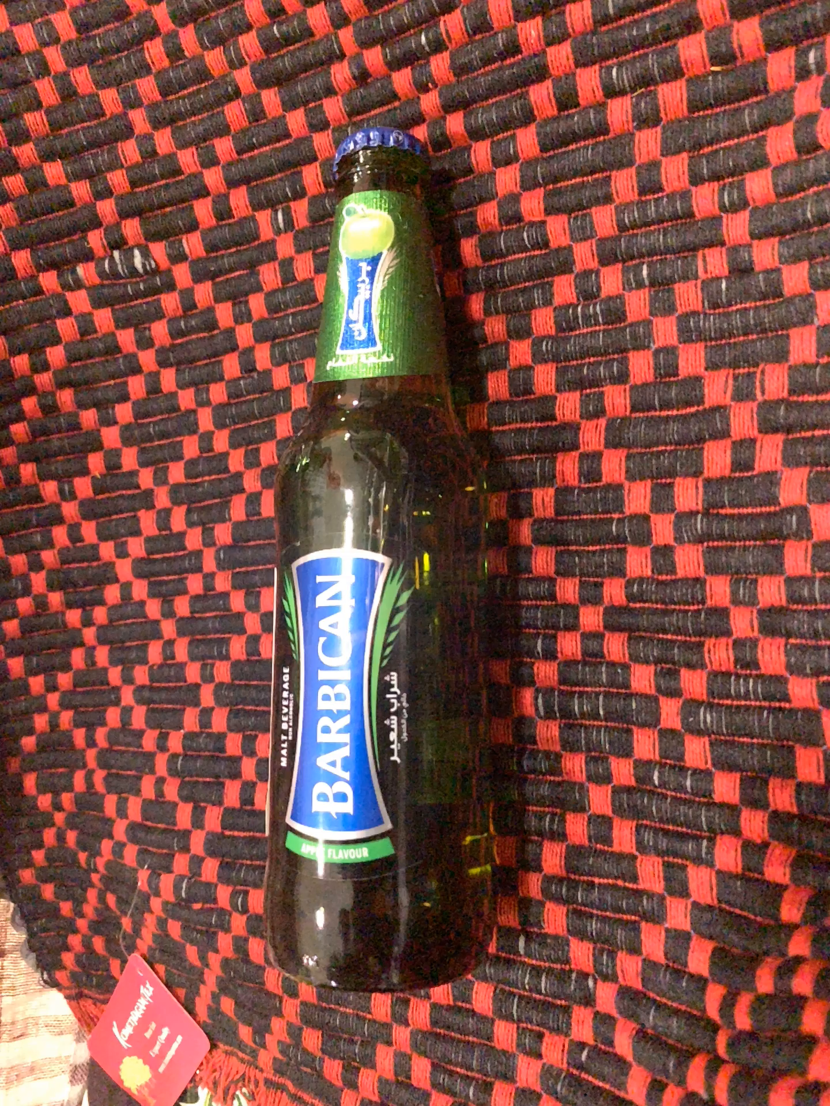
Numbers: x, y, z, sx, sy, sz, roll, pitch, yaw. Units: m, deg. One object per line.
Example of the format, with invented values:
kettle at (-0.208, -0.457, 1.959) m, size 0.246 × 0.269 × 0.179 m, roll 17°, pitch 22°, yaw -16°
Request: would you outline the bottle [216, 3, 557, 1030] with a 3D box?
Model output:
bottle at (-0.006, -0.013, 0.234) m, size 0.070 × 0.050 × 0.238 m, roll -5°, pitch 80°, yaw 30°
